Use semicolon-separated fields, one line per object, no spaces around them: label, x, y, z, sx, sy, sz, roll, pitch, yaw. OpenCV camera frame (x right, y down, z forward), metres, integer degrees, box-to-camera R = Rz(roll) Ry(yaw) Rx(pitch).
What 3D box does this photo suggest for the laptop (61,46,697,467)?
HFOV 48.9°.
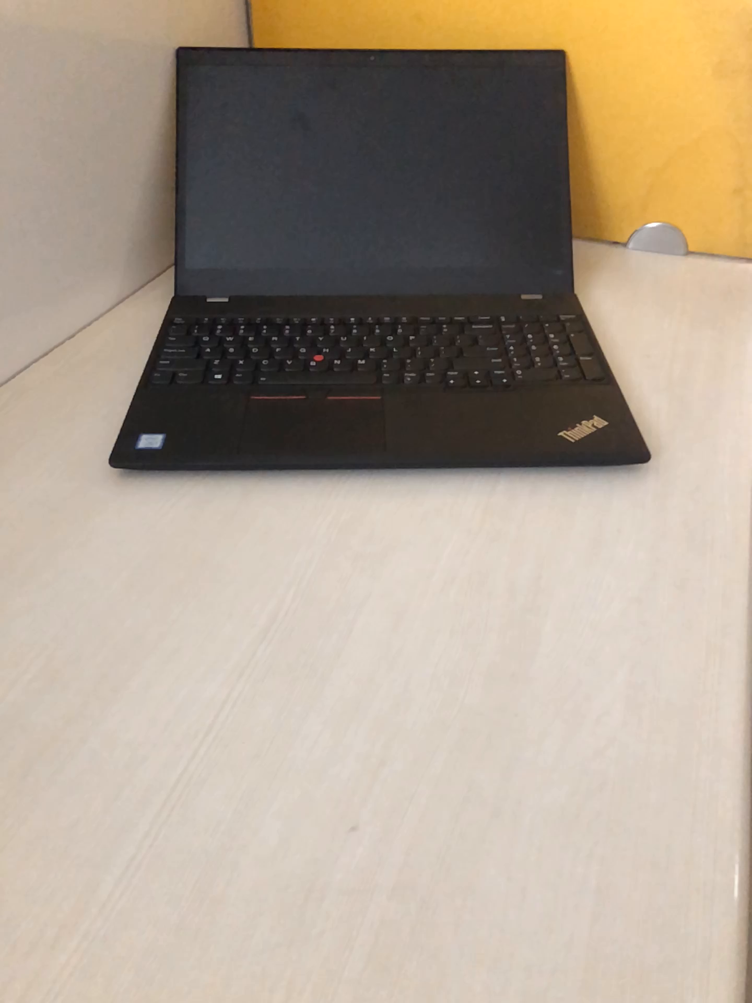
laptop;-0.003;-0.221;0.653;0.344;0.150;0.423;0;41;-2
